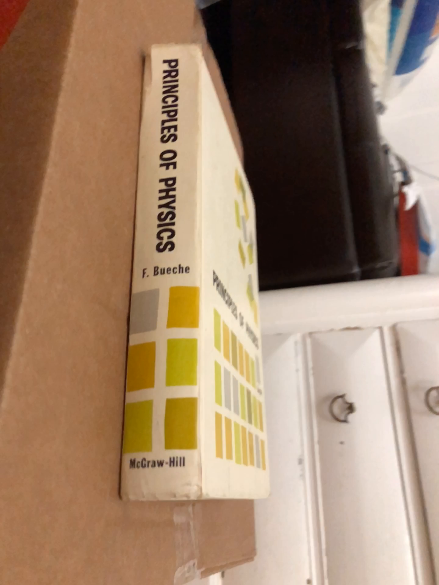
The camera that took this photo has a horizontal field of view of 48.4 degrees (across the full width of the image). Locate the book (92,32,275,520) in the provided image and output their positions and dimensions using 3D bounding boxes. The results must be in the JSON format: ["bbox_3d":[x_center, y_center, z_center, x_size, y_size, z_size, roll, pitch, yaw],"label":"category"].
[{"bbox_3d":[-0.006,0.004,0.311,0.180,0.040,0.250,55,31,-62],"label":"book"}]
